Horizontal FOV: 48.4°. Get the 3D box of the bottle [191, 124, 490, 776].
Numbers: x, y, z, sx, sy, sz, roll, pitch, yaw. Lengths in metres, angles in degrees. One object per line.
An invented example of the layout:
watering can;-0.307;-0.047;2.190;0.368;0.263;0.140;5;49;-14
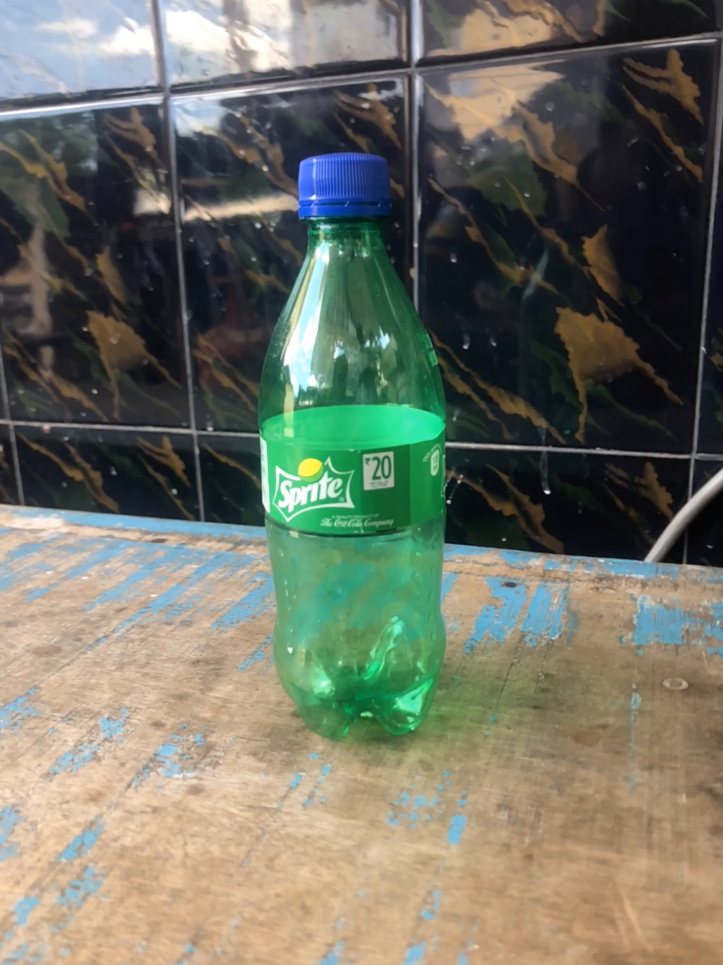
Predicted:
bottle;-0.001;-0.009;0.227;0.060;0.159;0.050;6;17;27
